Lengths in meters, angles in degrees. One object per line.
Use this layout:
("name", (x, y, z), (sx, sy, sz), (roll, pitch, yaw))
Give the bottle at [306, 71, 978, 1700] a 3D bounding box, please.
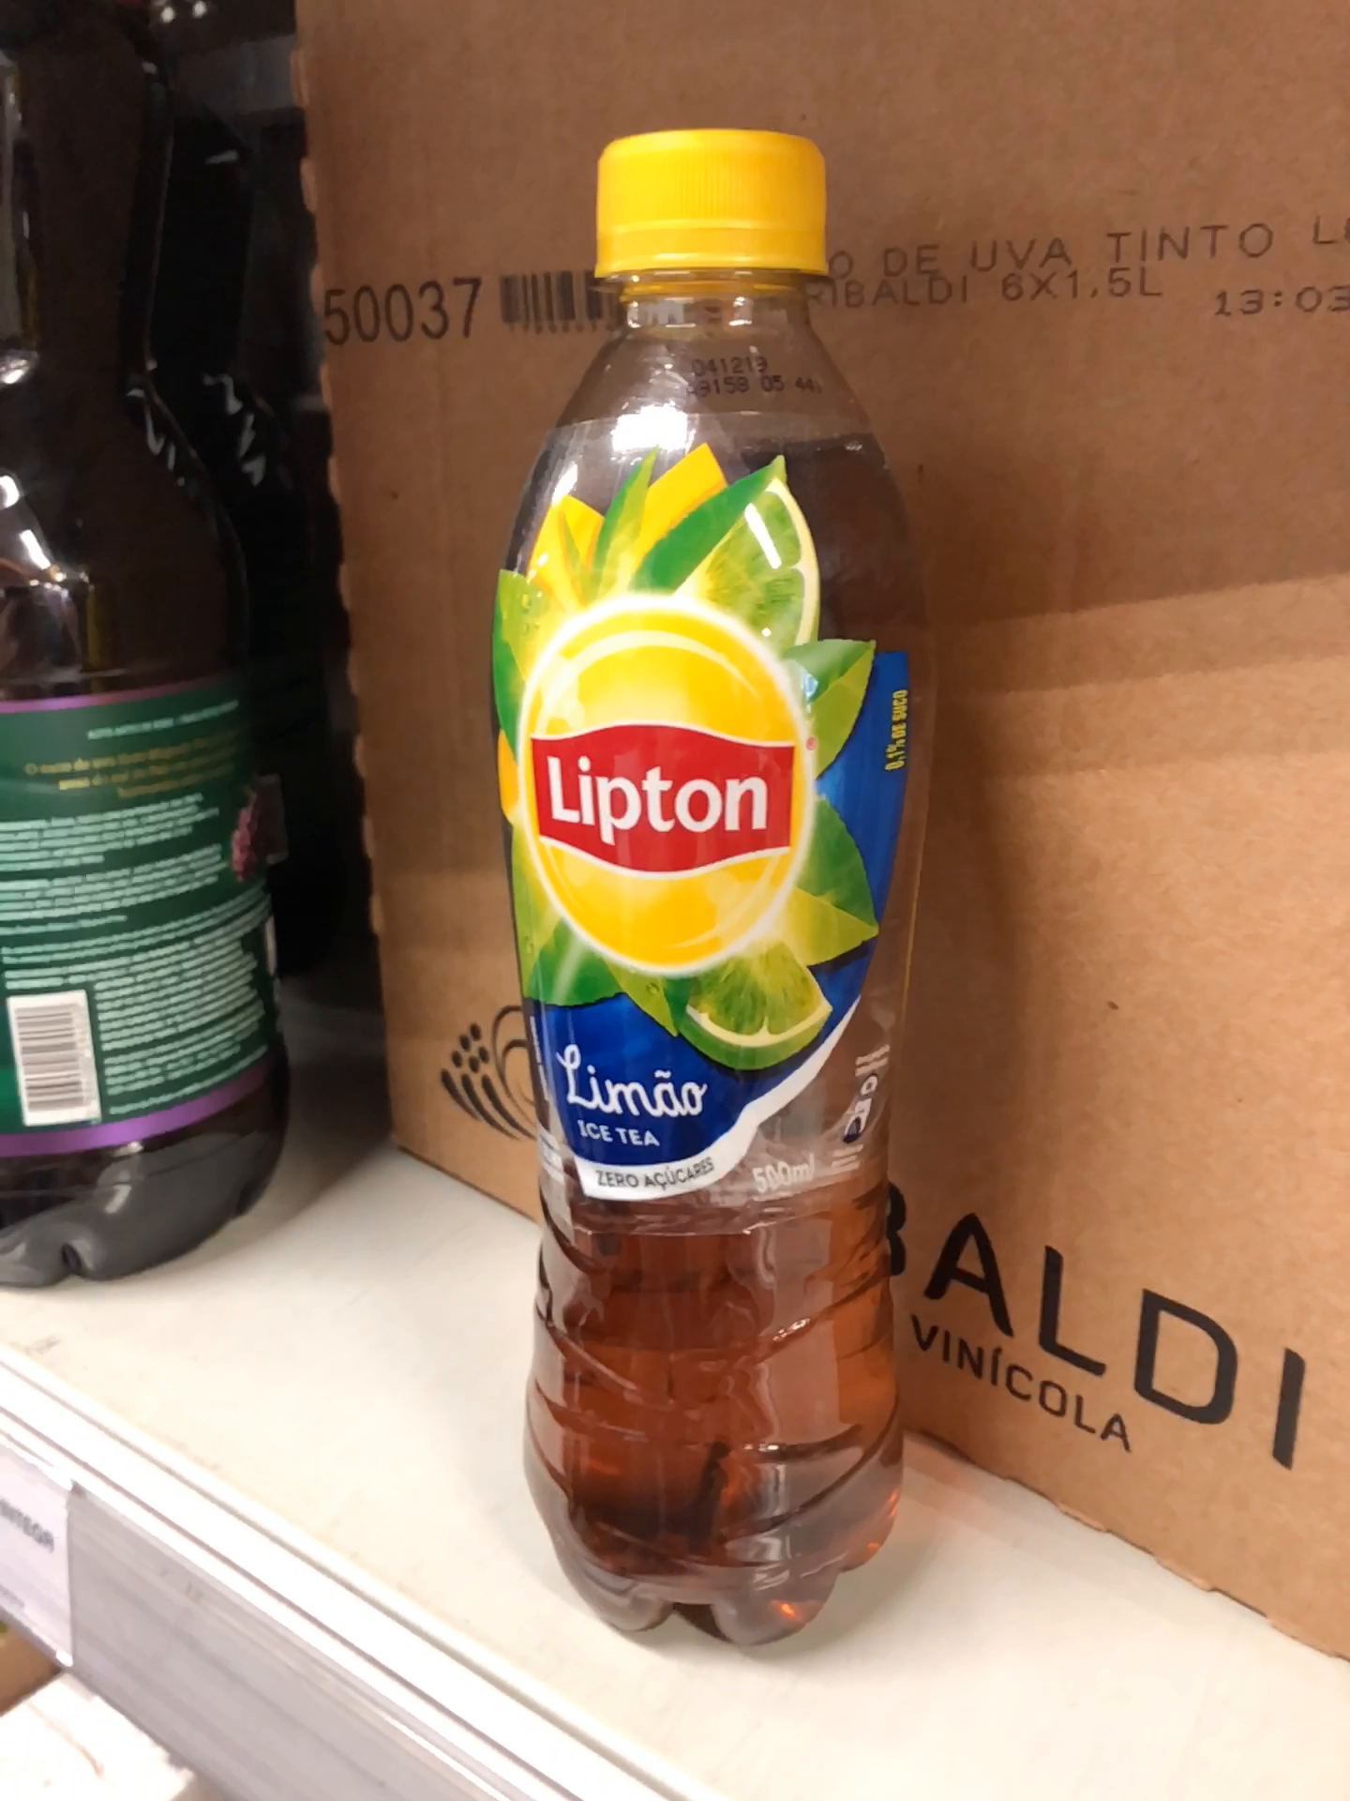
("bottle", (0.004, 0.005, 0.229), (0.070, 0.219, 0.060), (4, 21, 18))
